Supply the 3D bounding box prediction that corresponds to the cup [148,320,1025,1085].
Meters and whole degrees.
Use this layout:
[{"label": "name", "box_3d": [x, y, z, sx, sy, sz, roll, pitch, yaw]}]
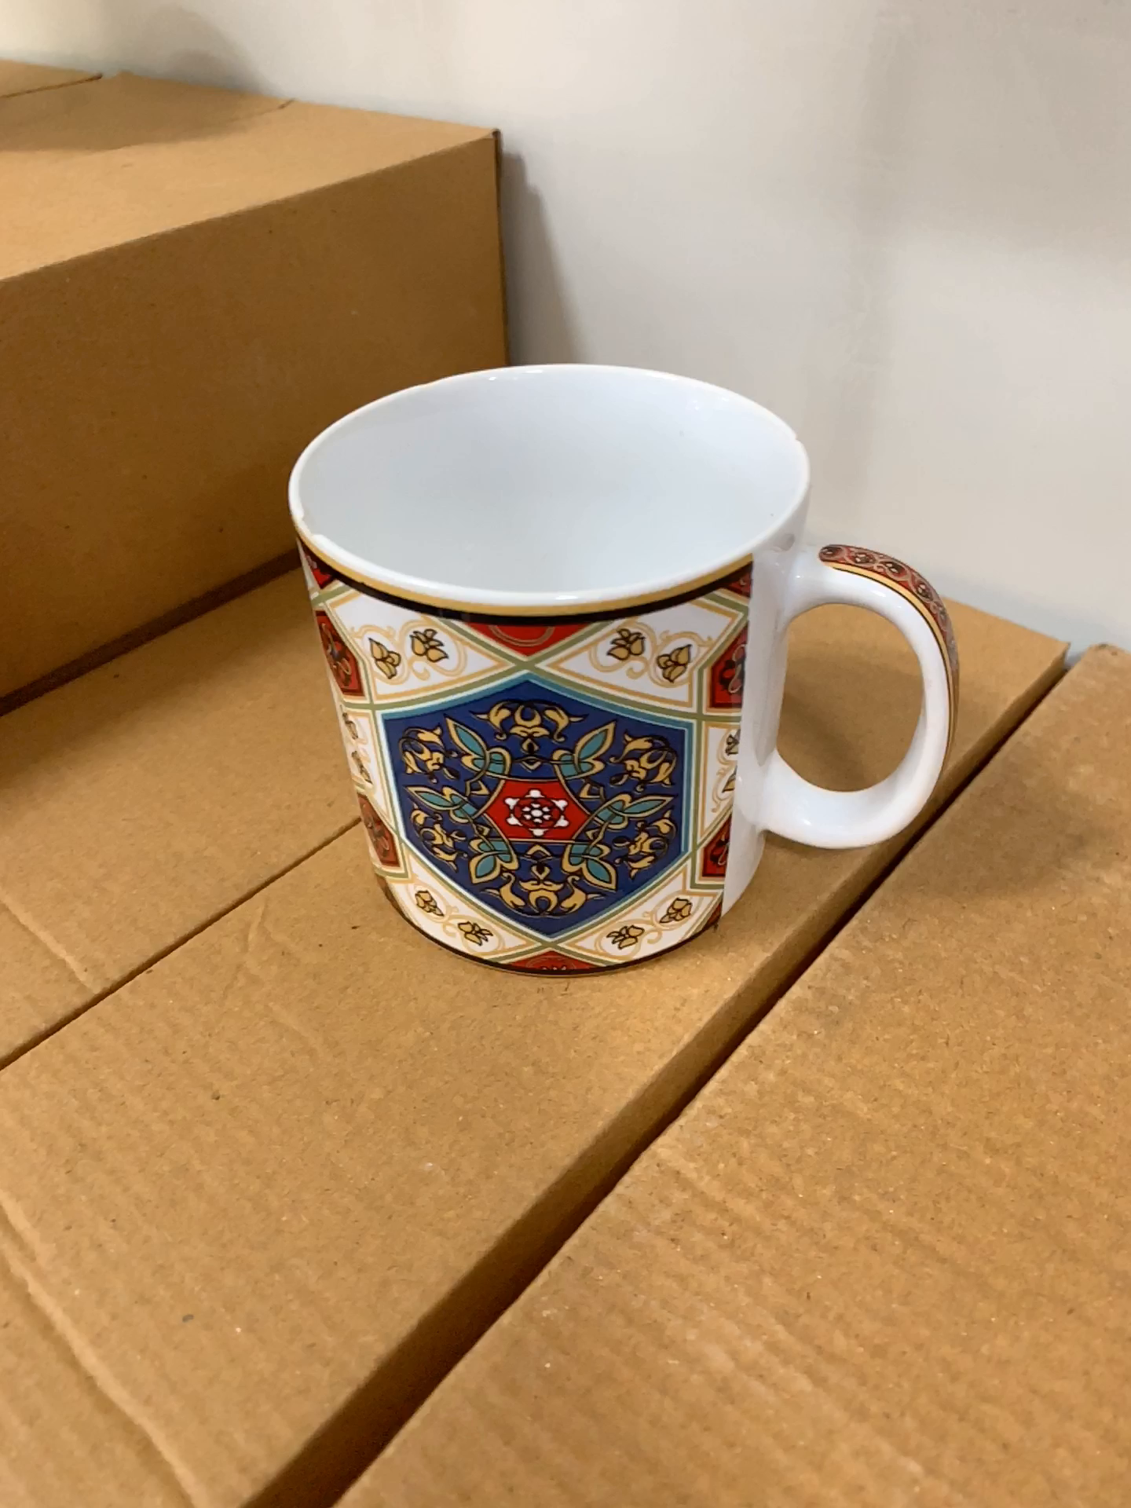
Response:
[{"label": "cup", "box_3d": [0.010, -0.014, 0.182, 0.100, 0.069, 0.081, 9, 41, 13]}]
